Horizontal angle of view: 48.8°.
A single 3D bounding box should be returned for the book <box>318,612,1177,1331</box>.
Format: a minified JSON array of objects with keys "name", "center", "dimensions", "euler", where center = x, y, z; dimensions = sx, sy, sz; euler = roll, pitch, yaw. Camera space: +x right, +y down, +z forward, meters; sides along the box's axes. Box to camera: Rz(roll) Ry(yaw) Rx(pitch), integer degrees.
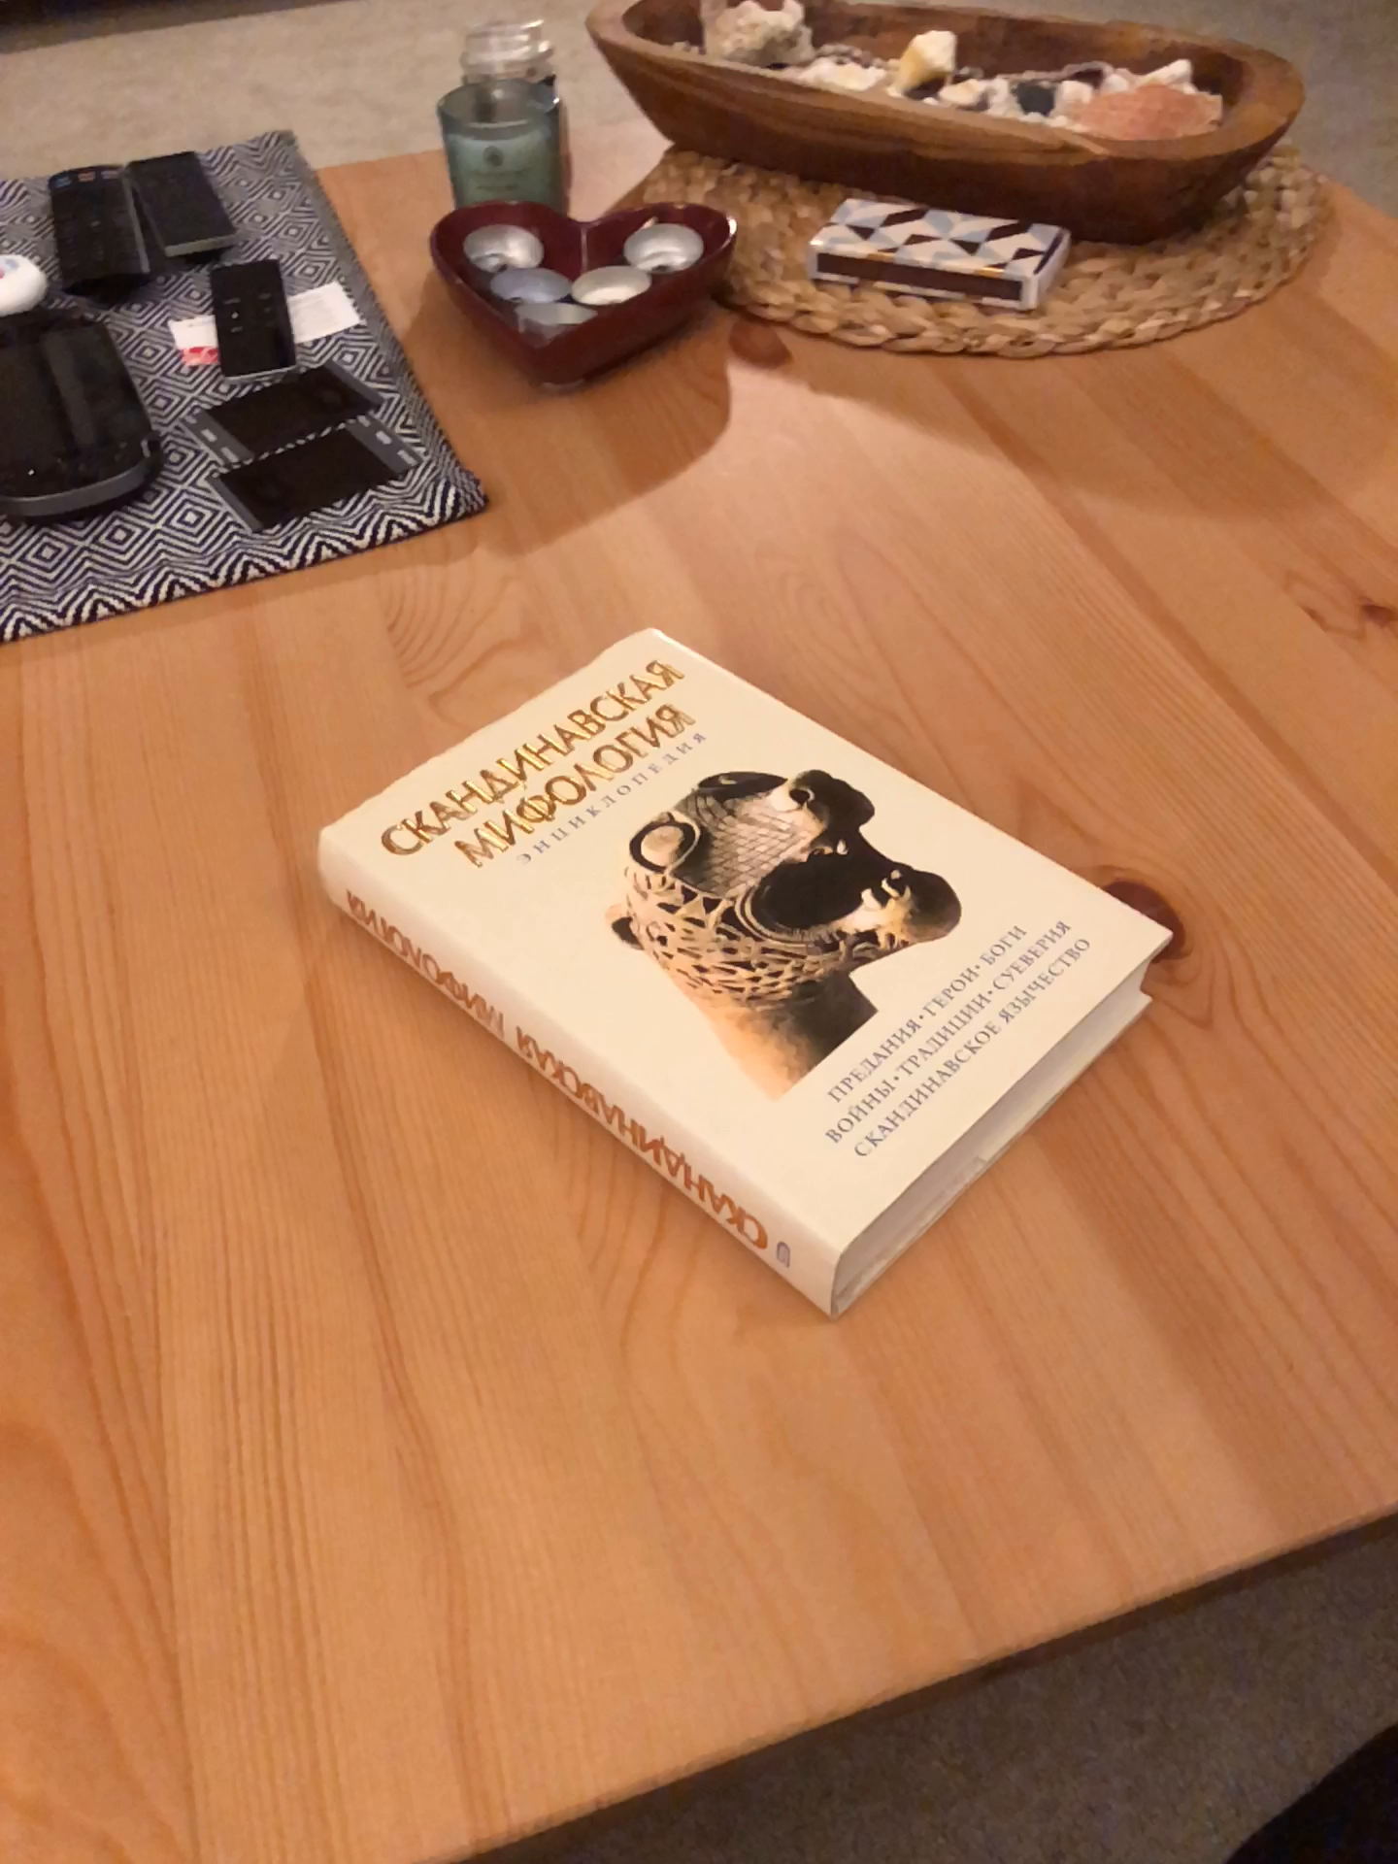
[{"name":"book","center":[0.010,-0.004,0.467],"dimensions":[0.147,0.037,0.210],"euler":[-37,57,-26]}]
